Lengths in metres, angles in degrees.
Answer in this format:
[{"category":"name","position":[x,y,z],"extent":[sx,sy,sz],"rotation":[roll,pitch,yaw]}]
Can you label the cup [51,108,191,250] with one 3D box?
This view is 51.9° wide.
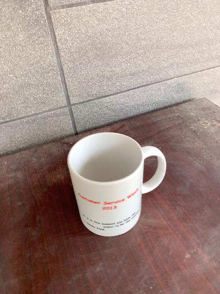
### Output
[{"category":"cup","position":[0.010,0.033,0.270],"extent":[0.120,0.100,0.090],"rotation":[-19,42,-15]}]
